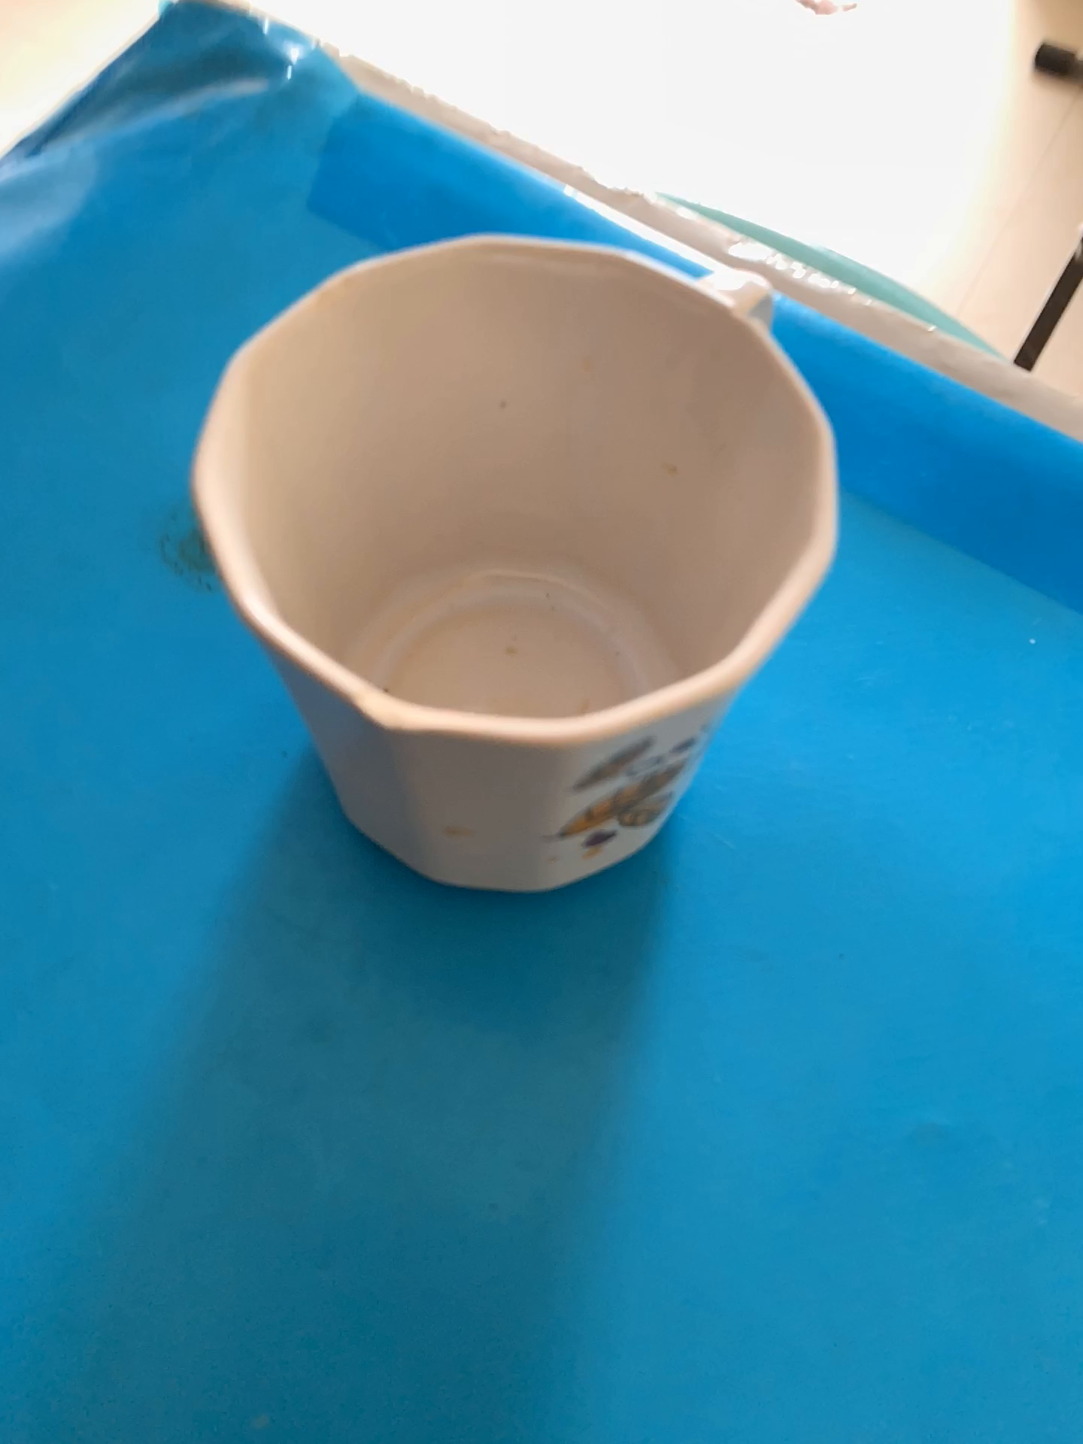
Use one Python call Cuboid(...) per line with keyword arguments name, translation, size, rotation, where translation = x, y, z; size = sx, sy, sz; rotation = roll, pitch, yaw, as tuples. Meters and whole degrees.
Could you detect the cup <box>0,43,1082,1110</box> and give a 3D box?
Cuboid(name="cup", translation=(0.006, -0.018, 0.142), size=(0.070, 0.060, 0.100), rotation=(42, 71, 18))
